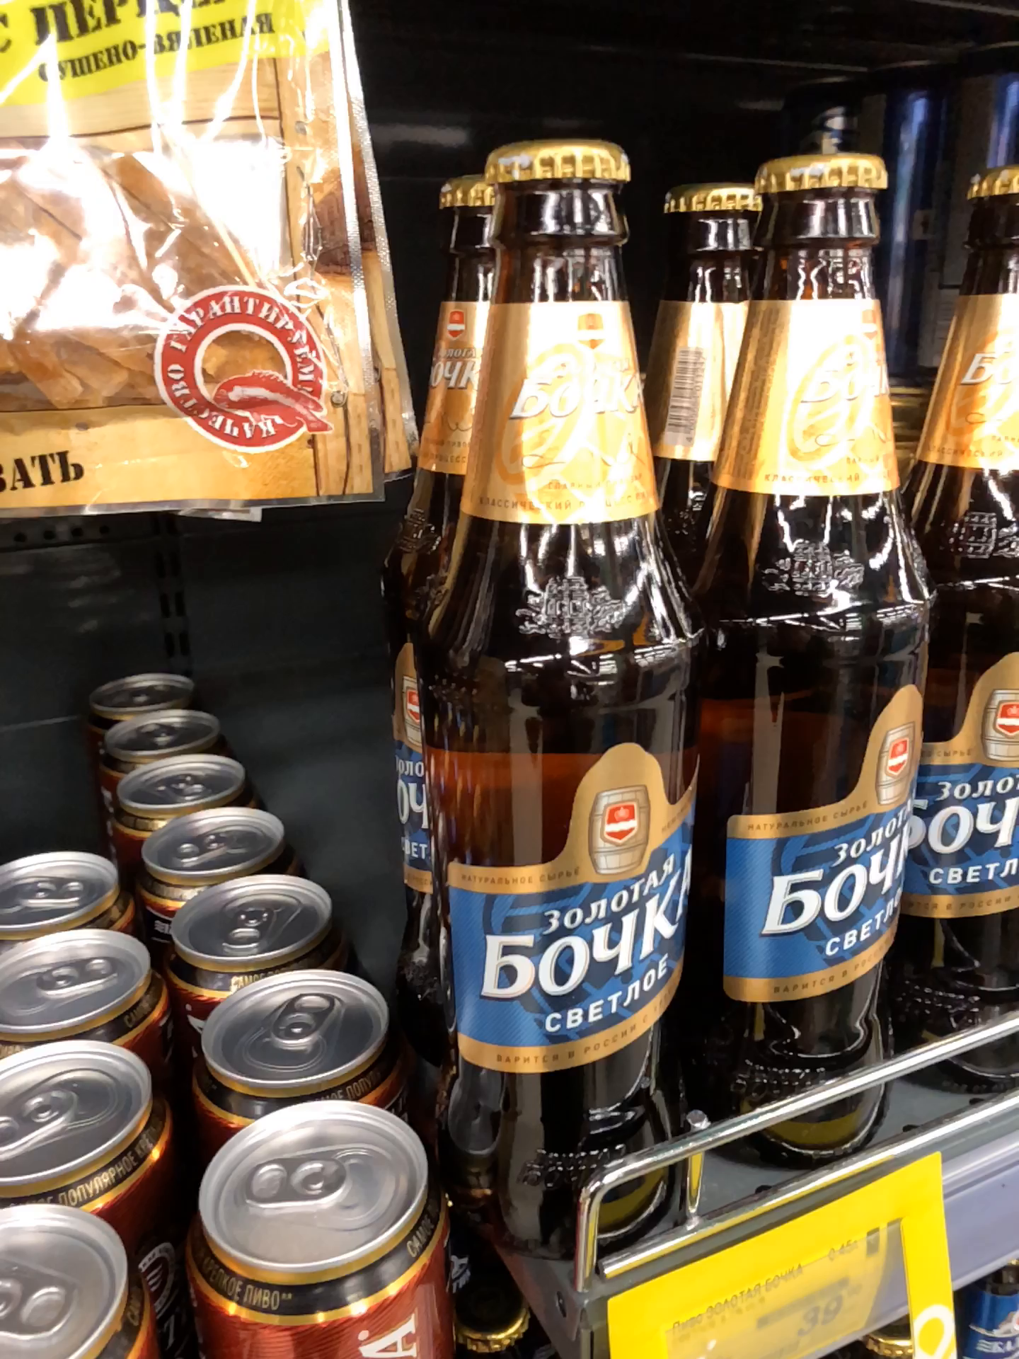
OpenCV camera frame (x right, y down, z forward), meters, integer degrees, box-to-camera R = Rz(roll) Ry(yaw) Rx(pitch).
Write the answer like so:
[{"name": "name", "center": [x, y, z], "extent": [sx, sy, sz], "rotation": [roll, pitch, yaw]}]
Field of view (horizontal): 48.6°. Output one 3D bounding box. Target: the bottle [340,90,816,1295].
[{"name": "bottle", "center": [0.010, 0.008, 0.248], "extent": [0.070, 0.234, 0.070], "rotation": [-1, 19, 0]}]

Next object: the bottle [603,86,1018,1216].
[{"name": "bottle", "center": [0.069, -0.002, 0.267], "extent": [0.070, 0.234, 0.060], "rotation": [-16, 23, -37]}]
